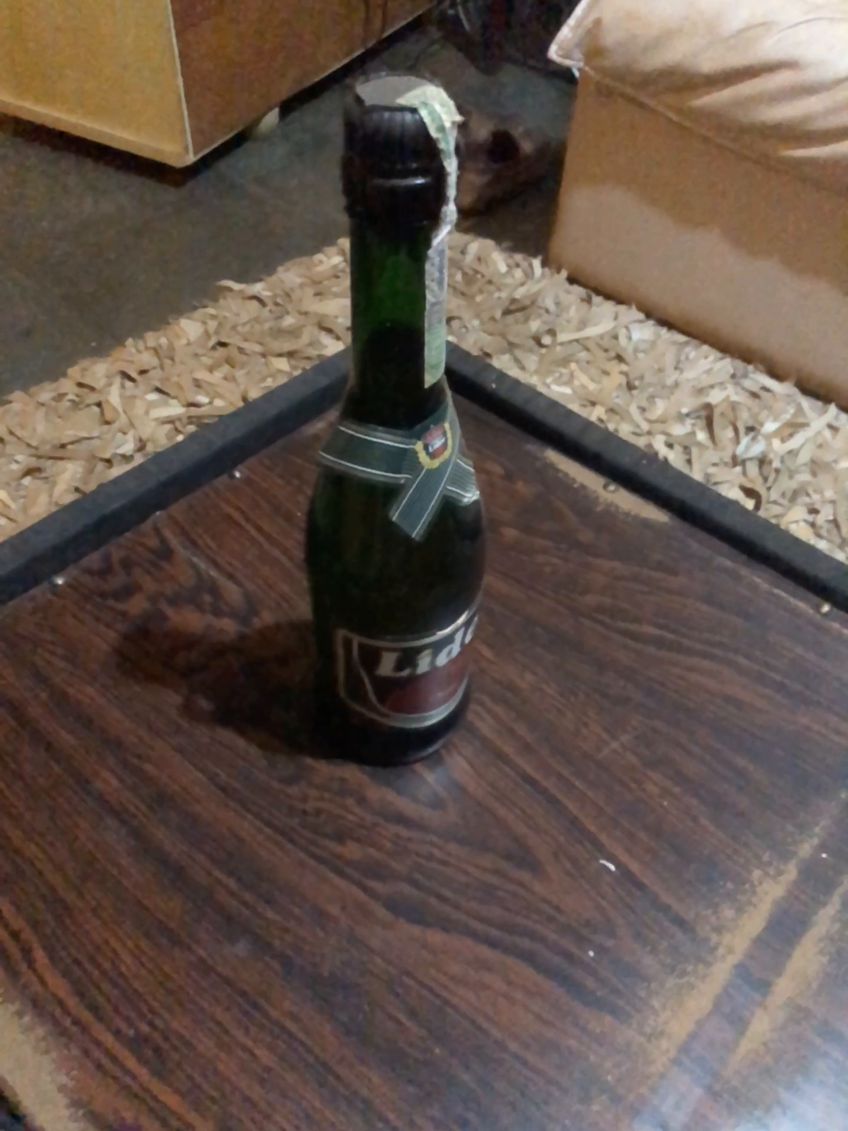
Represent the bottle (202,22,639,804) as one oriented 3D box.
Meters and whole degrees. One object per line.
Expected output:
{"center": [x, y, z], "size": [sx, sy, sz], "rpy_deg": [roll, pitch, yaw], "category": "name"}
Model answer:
{"center": [-0.005, -0.032, 0.364], "size": [0.090, 0.288, 0.080], "rpy_deg": [-35, 58, -29], "category": "bottle"}
